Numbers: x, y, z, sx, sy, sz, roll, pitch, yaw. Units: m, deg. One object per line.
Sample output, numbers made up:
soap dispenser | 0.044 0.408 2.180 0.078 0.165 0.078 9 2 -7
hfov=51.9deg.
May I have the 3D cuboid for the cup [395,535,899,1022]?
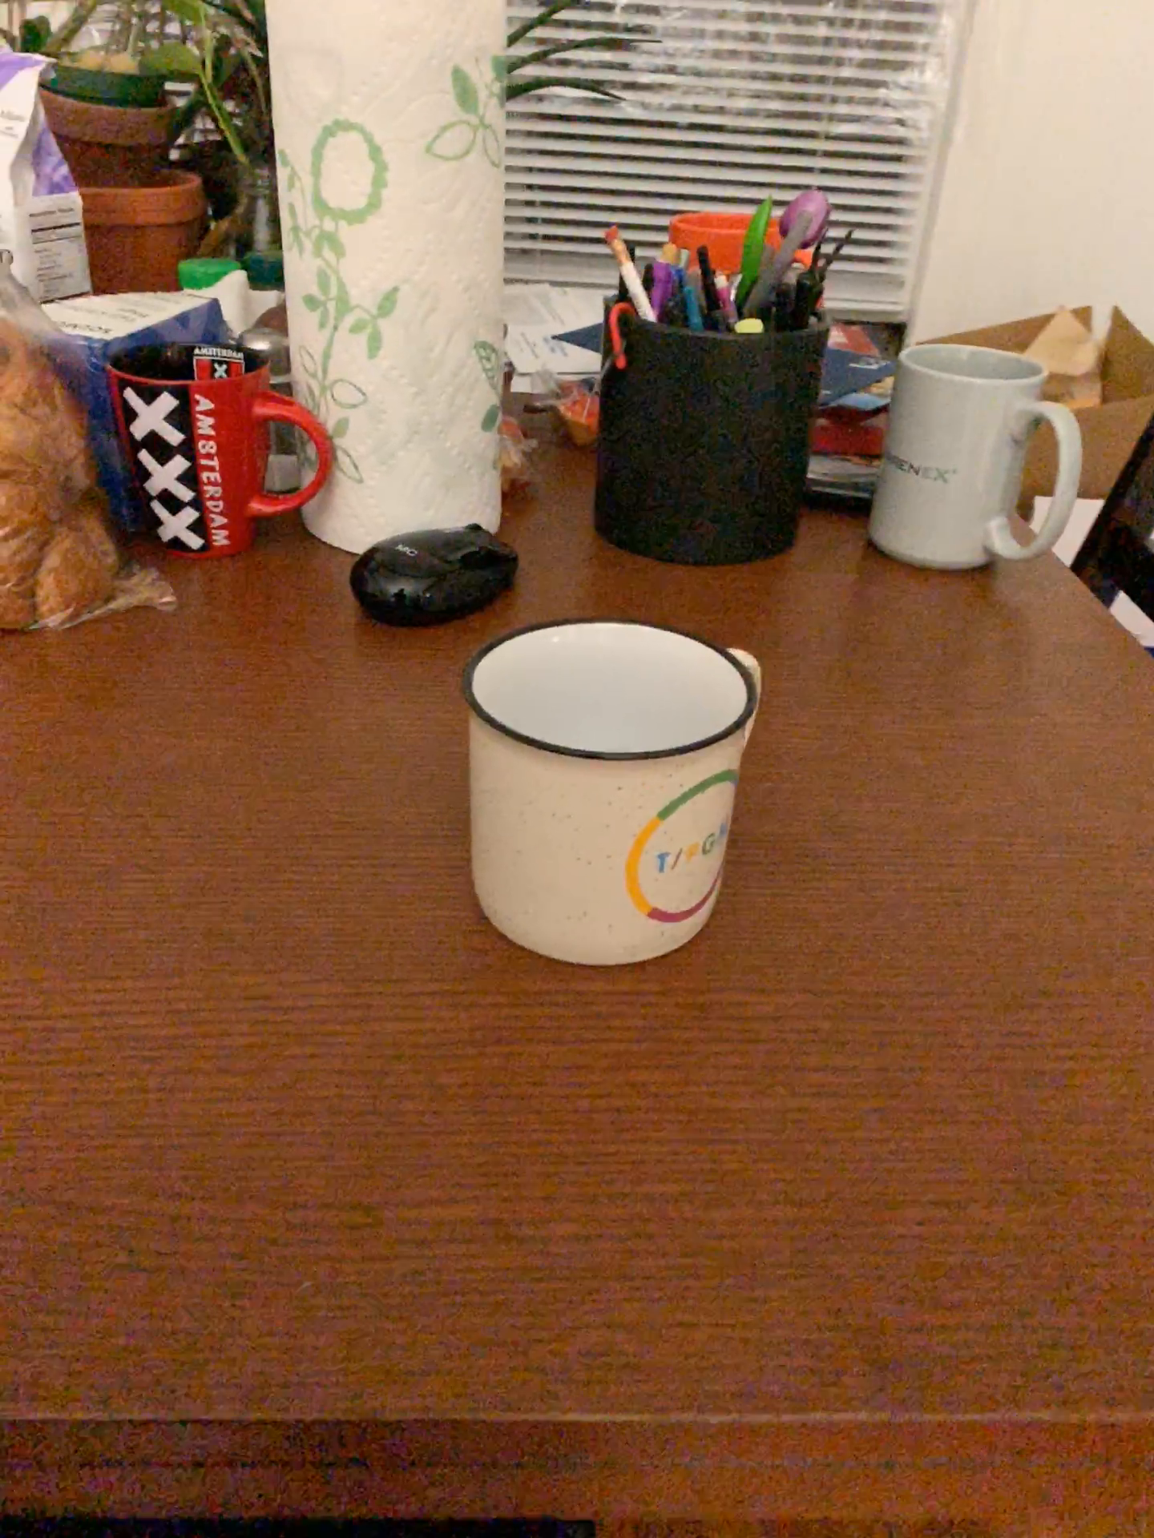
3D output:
cup | 0.026 -0.007 0.436 0.100 0.099 0.150 29 40 35
